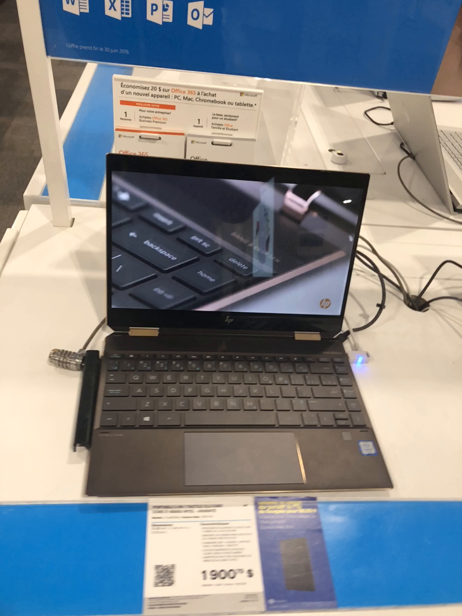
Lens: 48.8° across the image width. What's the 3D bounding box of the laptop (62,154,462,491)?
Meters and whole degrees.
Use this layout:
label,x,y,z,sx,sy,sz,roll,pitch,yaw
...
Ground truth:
label,x,y,z,sx,sy,sz,roll,pitch,yaw
laptop,0.010,0.008,0.533,0.297,0.197,0.286,2,41,-9
